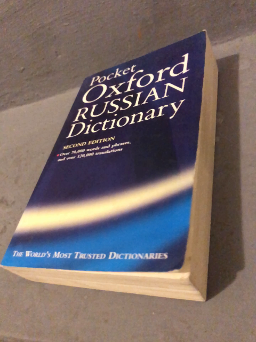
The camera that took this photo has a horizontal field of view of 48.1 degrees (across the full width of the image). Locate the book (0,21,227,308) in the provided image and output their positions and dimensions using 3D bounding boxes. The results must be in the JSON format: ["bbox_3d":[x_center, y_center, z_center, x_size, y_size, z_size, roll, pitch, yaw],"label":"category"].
[{"bbox_3d":[-0.004,-0.017,0.210,0.137,0.032,0.195,-9,50,31],"label":"book"}]
